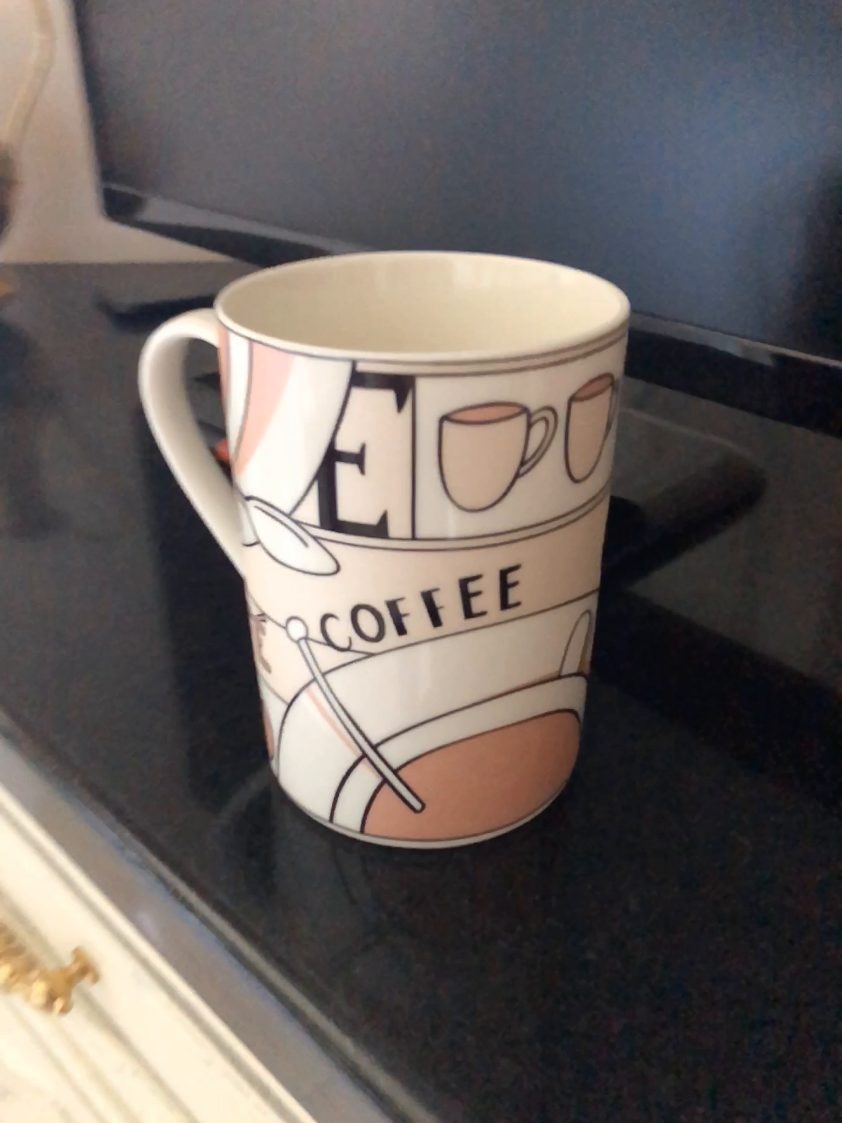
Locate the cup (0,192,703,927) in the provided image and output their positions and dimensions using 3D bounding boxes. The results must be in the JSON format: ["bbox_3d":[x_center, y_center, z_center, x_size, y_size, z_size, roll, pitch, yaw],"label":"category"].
[{"bbox_3d":[-0.014,-0.011,0.199,0.110,0.109,0.070,20,35,31],"label":"cup"}]
